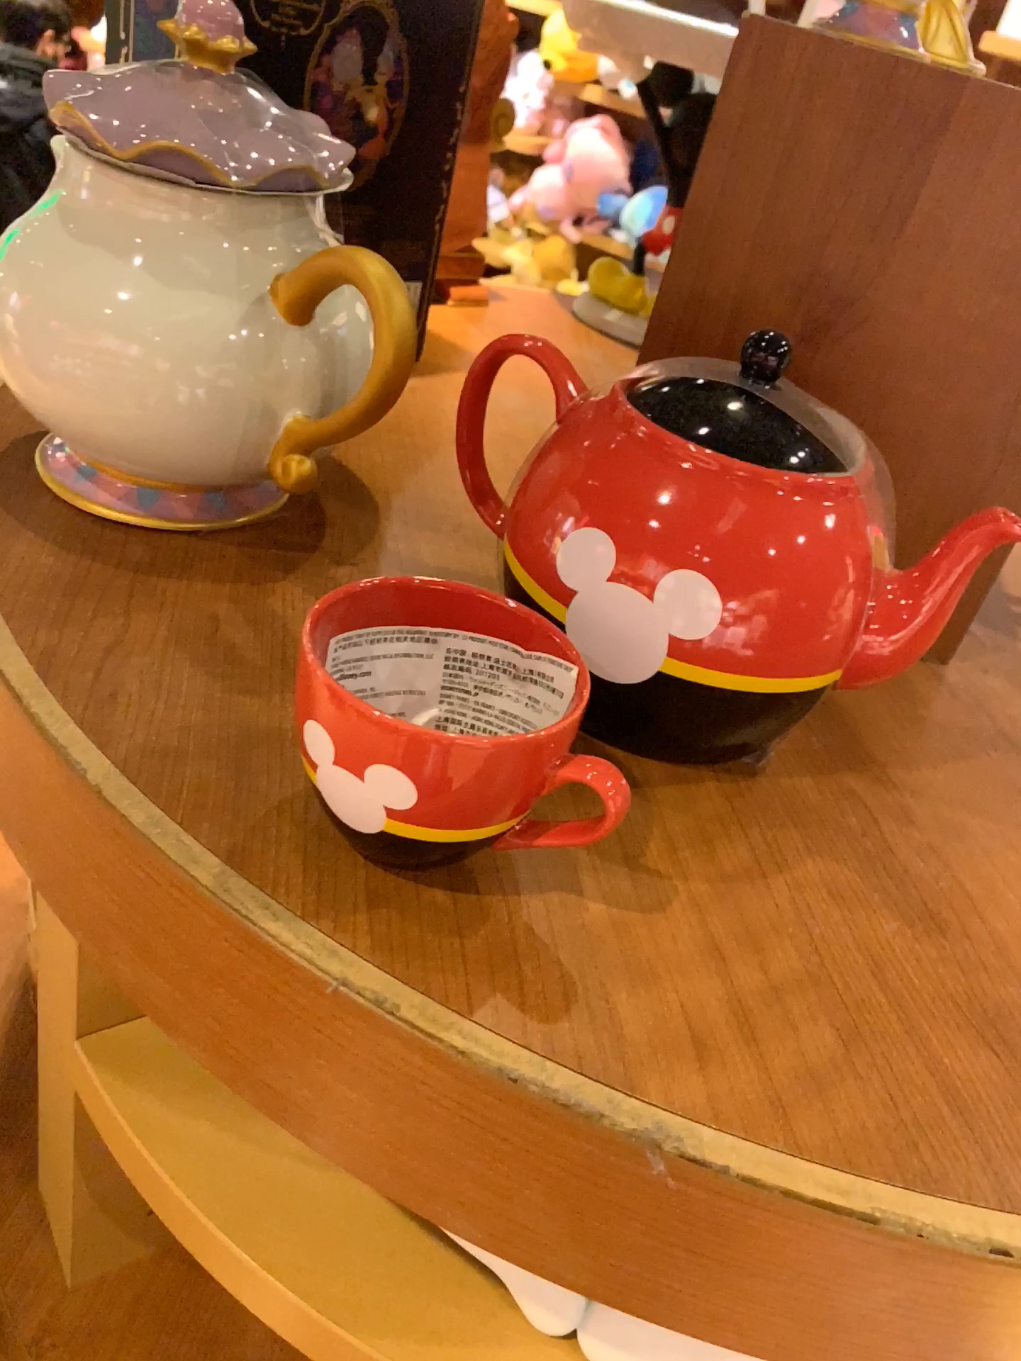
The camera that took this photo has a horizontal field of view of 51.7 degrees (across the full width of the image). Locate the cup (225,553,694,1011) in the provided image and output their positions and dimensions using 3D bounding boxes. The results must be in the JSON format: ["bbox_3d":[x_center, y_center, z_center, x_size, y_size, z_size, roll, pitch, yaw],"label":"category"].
[{"bbox_3d":[-0.017,0.023,0.307,0.100,0.065,0.078,32,36,24],"label":"cup"}]
